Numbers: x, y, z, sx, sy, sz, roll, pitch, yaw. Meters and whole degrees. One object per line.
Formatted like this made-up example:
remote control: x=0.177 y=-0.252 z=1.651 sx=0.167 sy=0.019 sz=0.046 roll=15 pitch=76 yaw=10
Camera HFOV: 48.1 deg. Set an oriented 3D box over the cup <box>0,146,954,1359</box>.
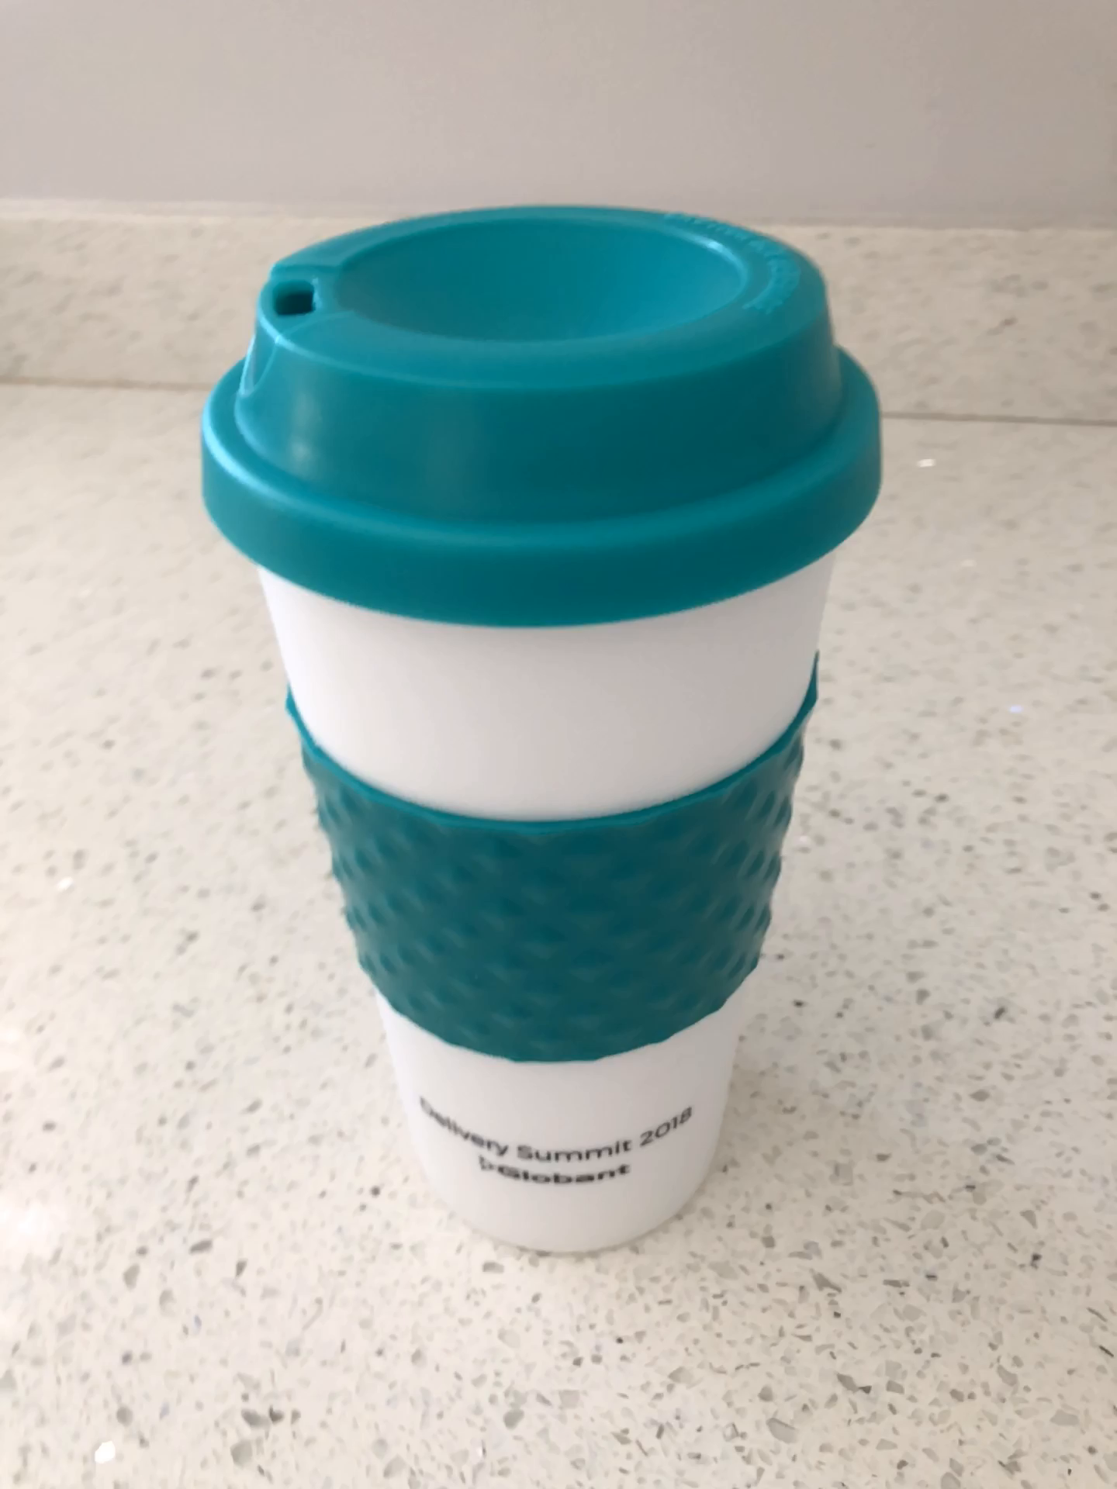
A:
cup: x=-0.001 y=0.001 z=0.218 sx=0.100 sy=0.169 sz=0.100 roll=-2 pitch=37 yaw=1
